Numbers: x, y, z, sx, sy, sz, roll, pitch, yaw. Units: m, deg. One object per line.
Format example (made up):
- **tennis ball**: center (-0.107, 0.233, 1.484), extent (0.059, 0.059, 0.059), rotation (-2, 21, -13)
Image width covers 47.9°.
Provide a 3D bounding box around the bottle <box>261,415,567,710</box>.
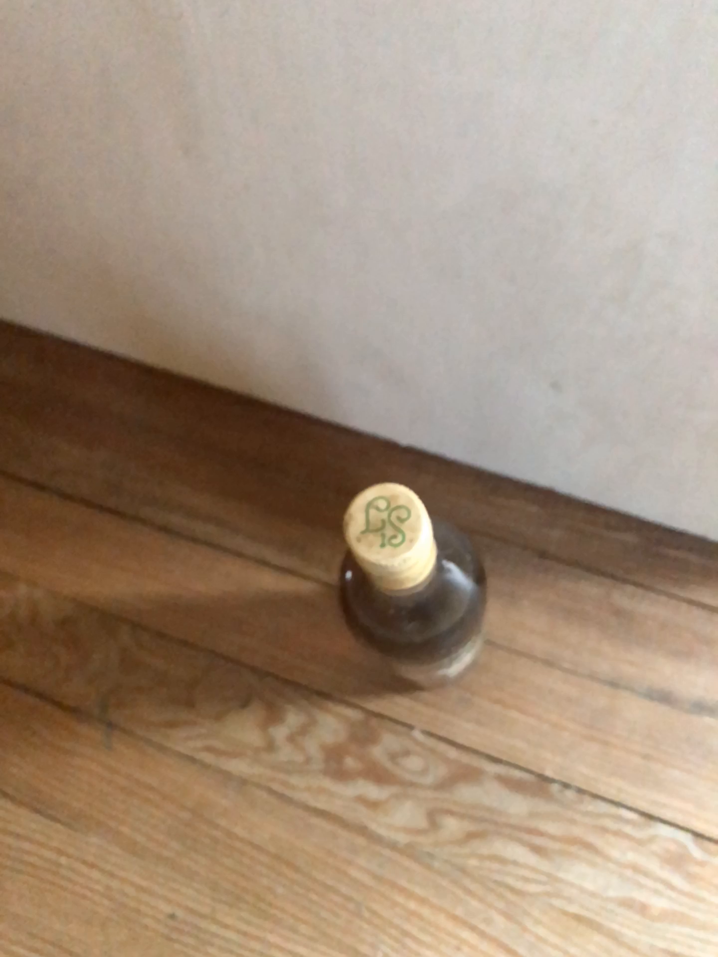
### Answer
- **bottle**: center (0.034, 0.069, 0.420), extent (0.080, 0.320, 0.070), rotation (-23, 72, 0)
